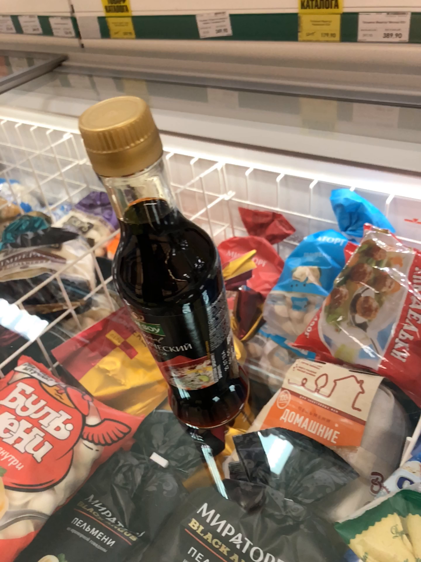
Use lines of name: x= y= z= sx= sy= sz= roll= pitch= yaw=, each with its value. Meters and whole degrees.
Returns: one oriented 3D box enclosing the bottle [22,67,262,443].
bottle: x=-0.019 y=0.004 z=0.276 sx=0.061 sy=0.230 sz=0.062 roll=-7 pitch=43 yaw=6
